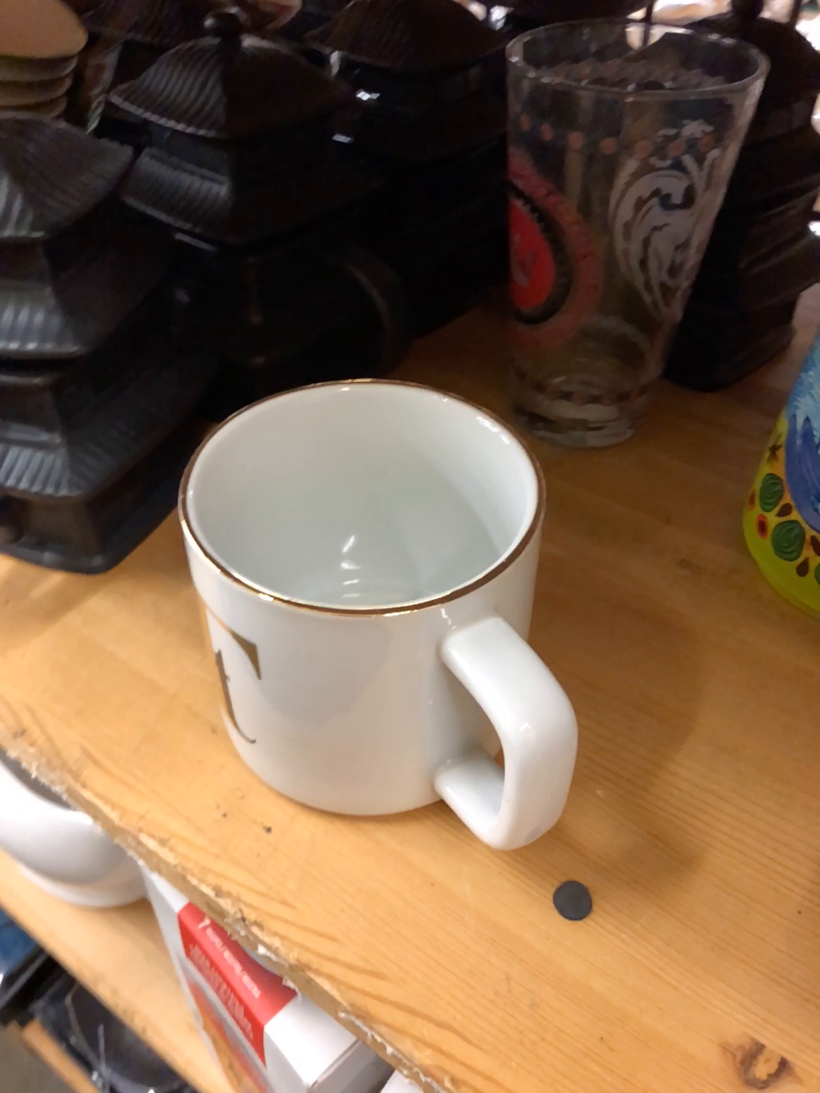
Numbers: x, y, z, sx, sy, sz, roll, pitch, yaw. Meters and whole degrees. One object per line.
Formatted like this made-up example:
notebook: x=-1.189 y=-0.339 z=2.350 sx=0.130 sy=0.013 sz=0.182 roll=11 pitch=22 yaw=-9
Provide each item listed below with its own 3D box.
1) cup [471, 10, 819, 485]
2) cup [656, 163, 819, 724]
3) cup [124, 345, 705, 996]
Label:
cup: x=0.076 y=-0.109 z=0.338 sx=0.078 sy=0.134 sz=0.093 roll=-9 pitch=43 yaw=-10
cup: x=0.140 y=-0.032 z=0.255 sx=0.079 sy=0.104 sz=0.093 roll=-34 pitch=52 yaw=-31
cup: x=-0.007 y=0.023 z=0.240 sx=0.088 sy=0.084 sz=0.123 roll=-19 pitch=46 yaw=-19
